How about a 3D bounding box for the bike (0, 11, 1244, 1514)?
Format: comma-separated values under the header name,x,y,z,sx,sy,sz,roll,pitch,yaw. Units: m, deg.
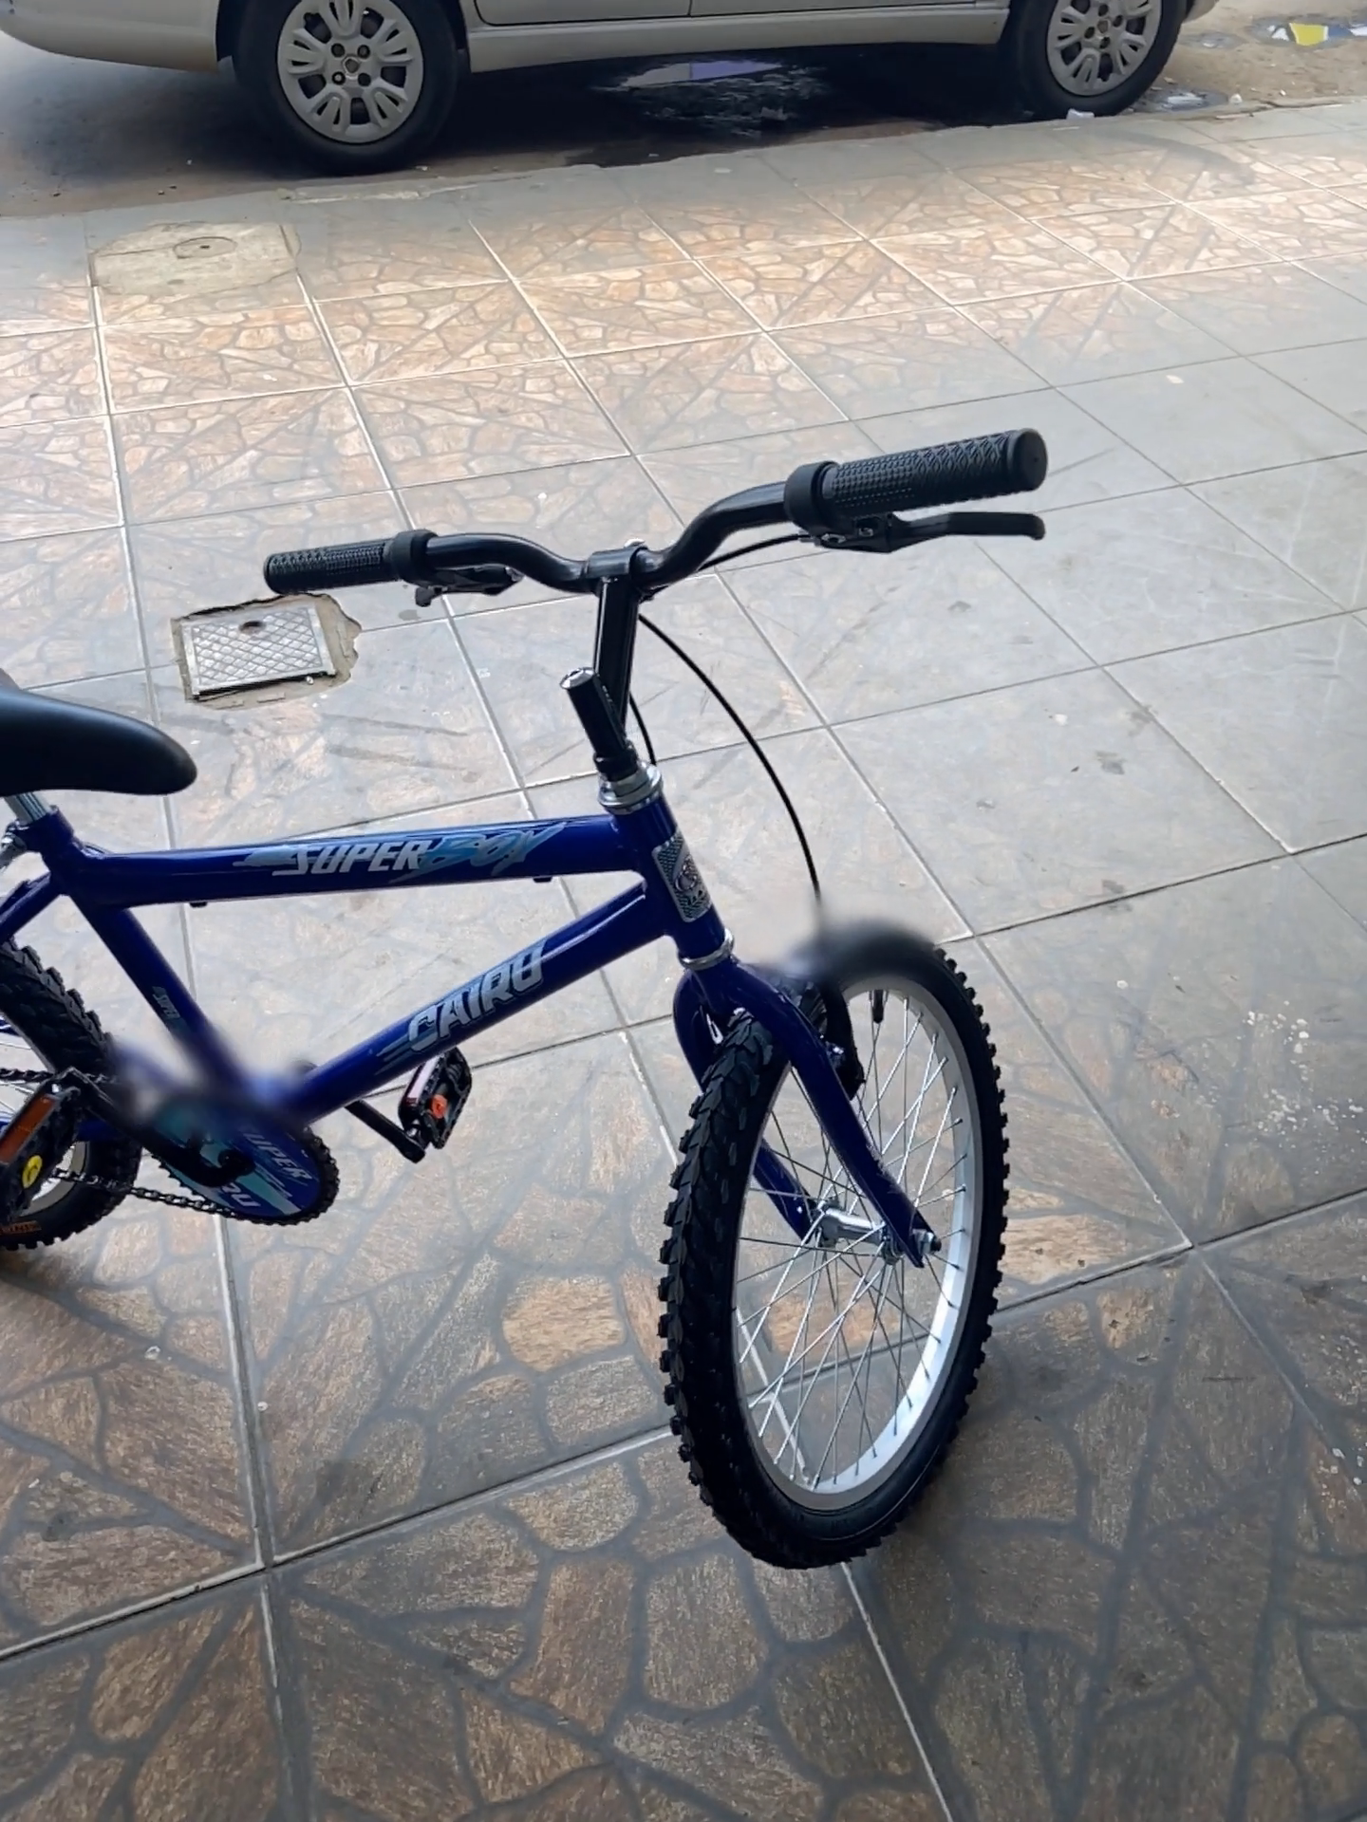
name,x,y,z,sx,sy,sz,roll,pitch,yaw
bike,-0.383,-0.027,1.037,1.181,0.949,0.546,1,46,3
